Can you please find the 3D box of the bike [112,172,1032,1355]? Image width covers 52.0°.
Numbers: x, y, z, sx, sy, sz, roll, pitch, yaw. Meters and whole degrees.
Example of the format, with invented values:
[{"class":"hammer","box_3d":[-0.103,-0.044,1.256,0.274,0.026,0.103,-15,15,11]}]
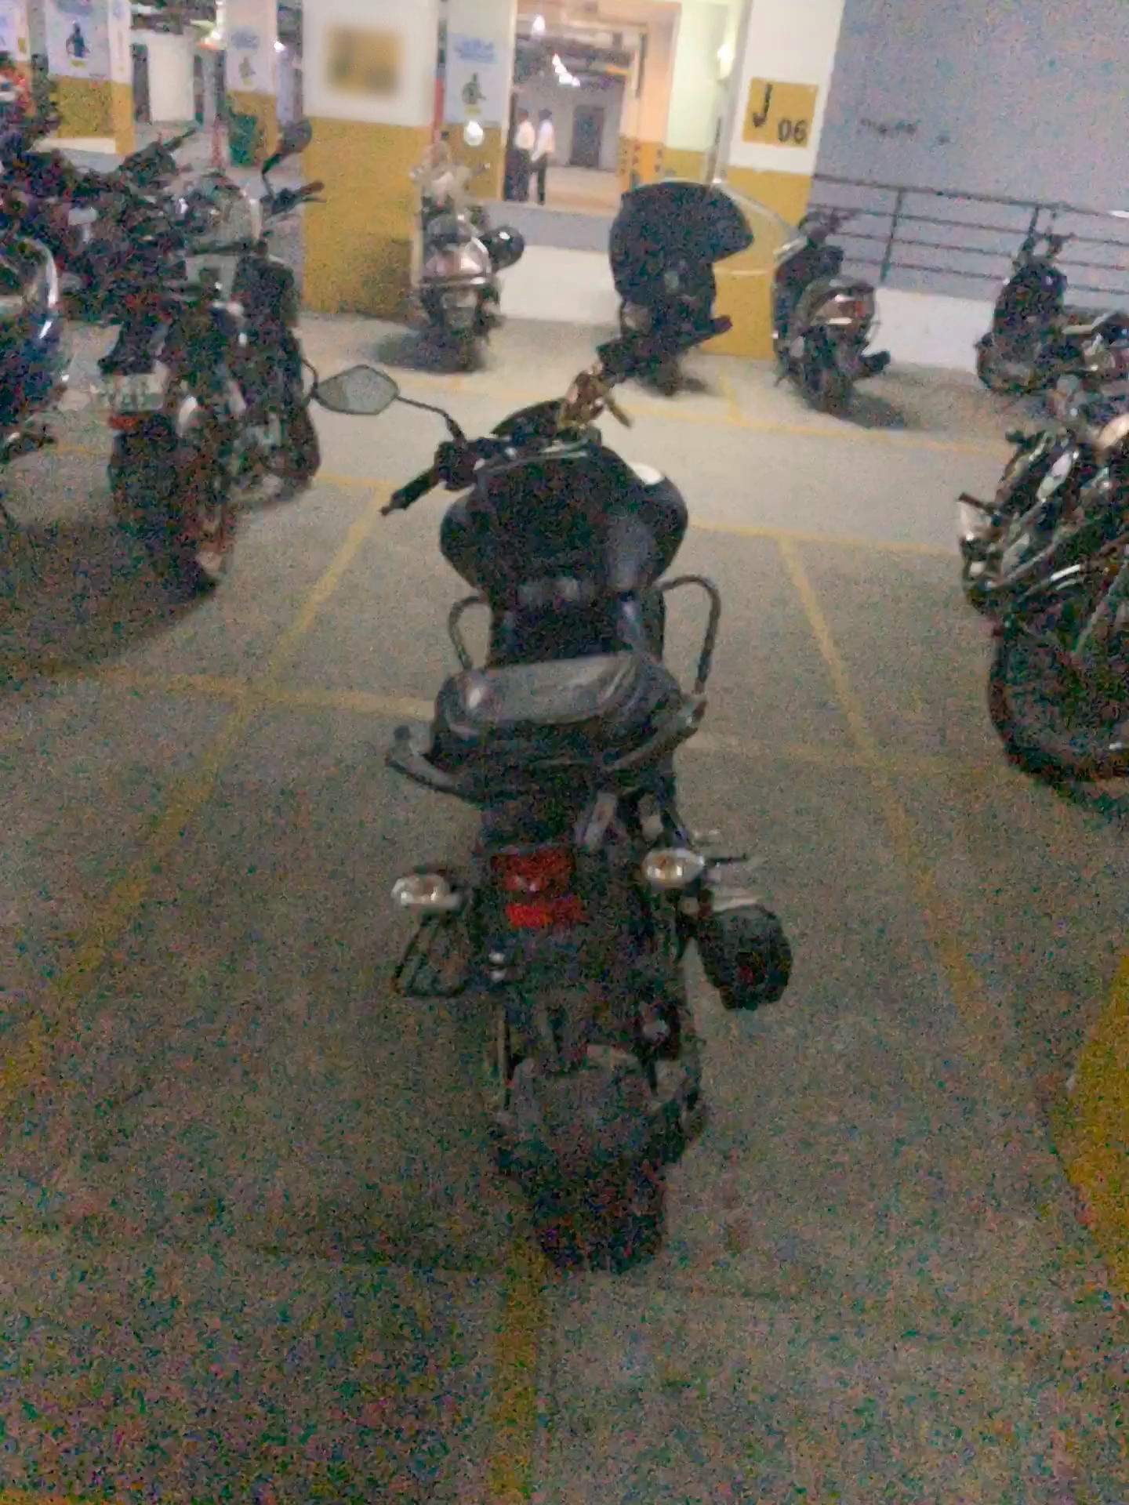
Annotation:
[{"class":"bike","box_3d":[-0.151,-0.208,1.960,0.785,1.097,1.743,2,31,-9]}]
